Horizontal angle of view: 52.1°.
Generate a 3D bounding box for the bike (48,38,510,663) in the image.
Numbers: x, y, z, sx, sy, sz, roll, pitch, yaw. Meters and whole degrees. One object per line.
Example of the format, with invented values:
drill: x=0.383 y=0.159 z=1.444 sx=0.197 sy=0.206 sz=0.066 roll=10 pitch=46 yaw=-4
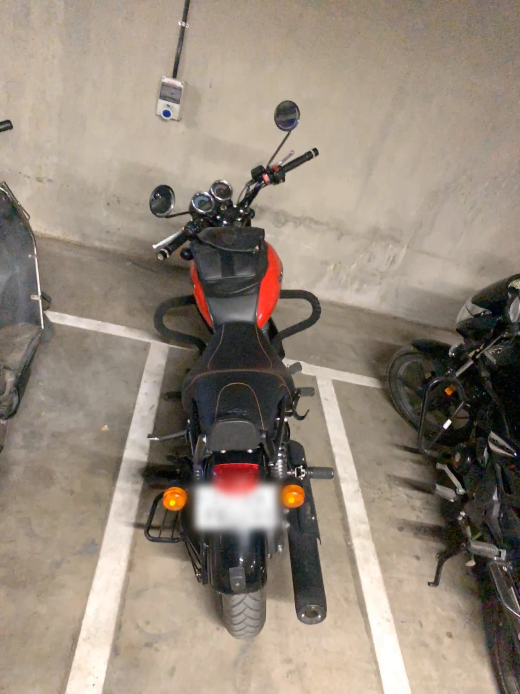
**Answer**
bike: x=-0.228 y=-0.142 z=2.021 sx=0.829 sy=1.302 sz=1.842 roll=6 pitch=36 yaw=-19
